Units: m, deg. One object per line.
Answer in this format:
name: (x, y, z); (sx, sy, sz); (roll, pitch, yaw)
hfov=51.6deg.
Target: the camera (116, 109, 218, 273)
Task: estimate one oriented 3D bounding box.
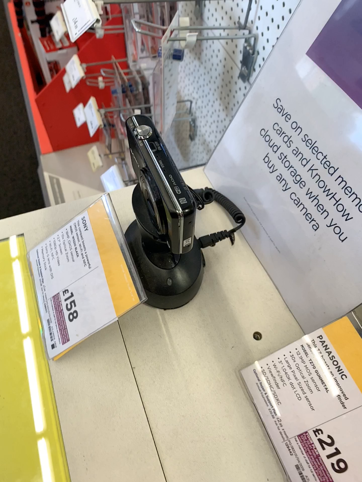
camera: (-0.012, -0.036, 0.256); (0.030, 0.050, 0.101); (-18, 60, -13)
